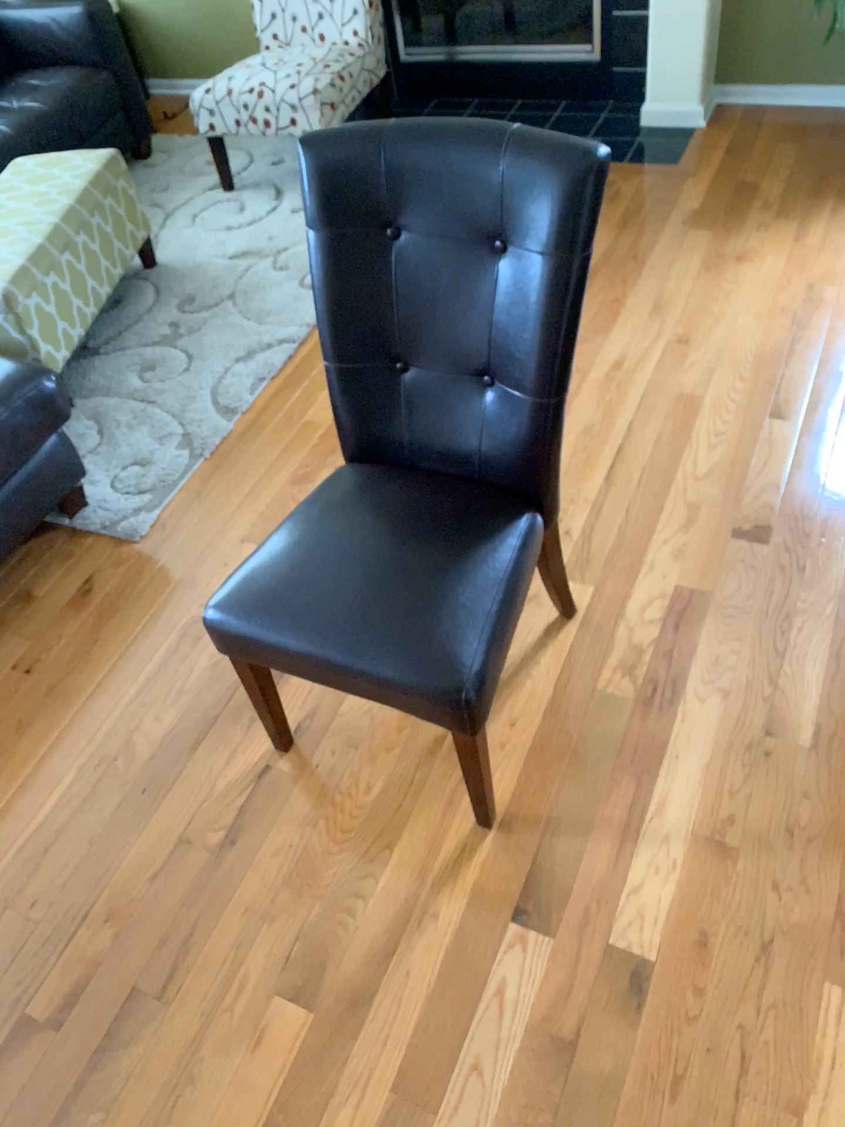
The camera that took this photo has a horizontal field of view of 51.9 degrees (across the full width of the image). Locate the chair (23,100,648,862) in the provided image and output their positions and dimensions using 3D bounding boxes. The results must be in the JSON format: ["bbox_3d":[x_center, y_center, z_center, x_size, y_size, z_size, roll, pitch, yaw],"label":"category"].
[{"bbox_3d":[-0.004,-0.117,1.484,0.538,0.978,0.725,15,53,23],"label":"chair"}]
